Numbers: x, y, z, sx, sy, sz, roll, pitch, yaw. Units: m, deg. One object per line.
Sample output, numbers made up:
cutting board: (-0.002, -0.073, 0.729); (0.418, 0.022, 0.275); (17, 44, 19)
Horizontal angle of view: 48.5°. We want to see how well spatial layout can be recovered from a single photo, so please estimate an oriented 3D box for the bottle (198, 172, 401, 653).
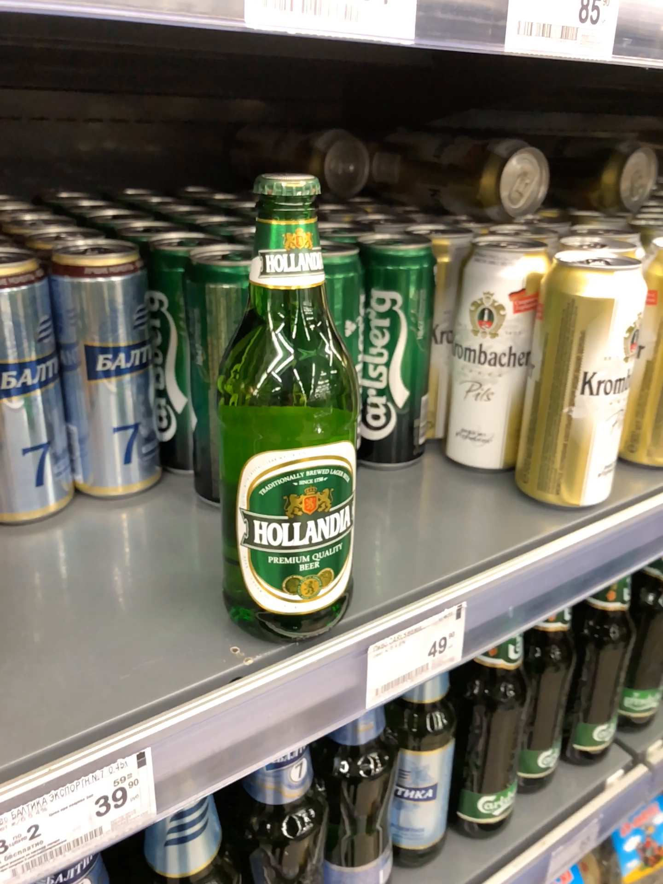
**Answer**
bottle: (-0.019, -0.012, 0.347); (0.070, 0.211, 0.063); (-6, 24, -16)
